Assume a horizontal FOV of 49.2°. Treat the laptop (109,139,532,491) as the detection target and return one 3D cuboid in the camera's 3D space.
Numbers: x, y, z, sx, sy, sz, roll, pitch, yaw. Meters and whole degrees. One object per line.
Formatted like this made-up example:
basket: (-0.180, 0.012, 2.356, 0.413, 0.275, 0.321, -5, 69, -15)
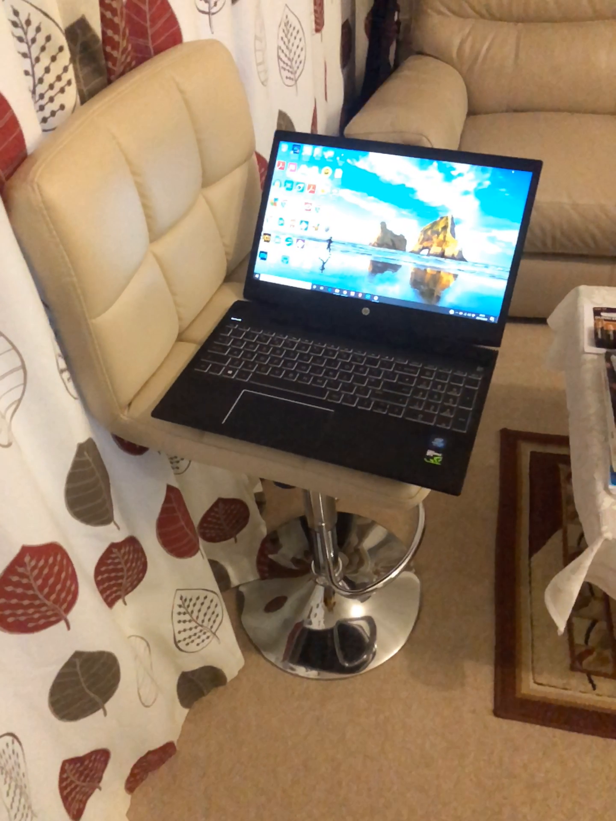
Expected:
laptop: (0.048, -0.145, 0.788, 0.348, 0.159, 0.402, 13, 45, 16)
